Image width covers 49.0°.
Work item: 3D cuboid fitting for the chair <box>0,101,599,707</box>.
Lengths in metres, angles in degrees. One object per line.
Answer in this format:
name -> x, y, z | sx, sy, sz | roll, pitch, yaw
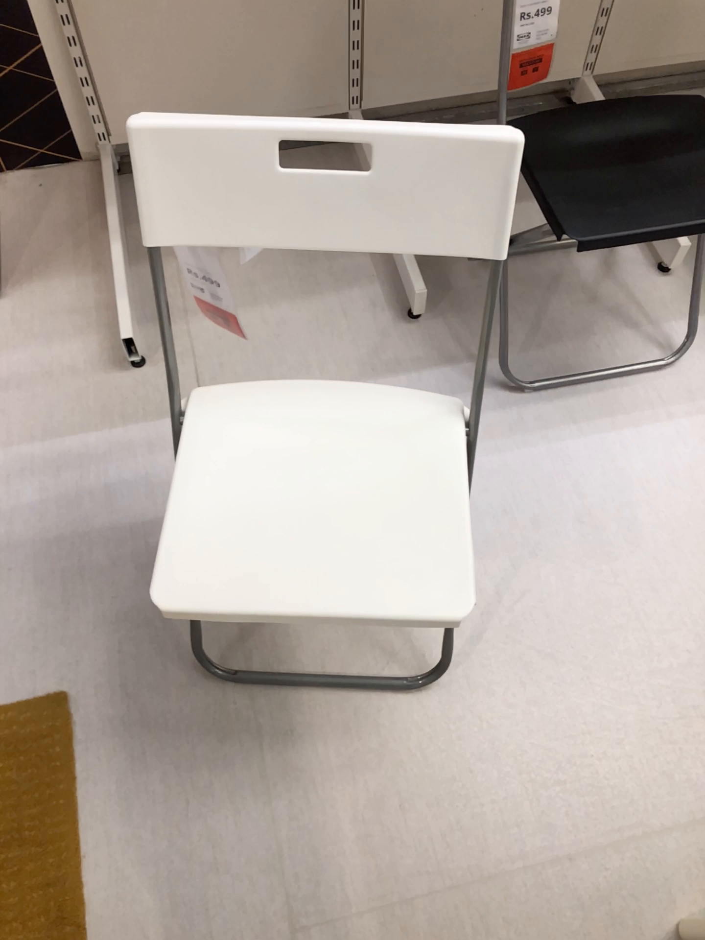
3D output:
chair -> -0.042, -0.001, 0.976 | 0.450, 0.727, 0.402 | 3, 60, 1
